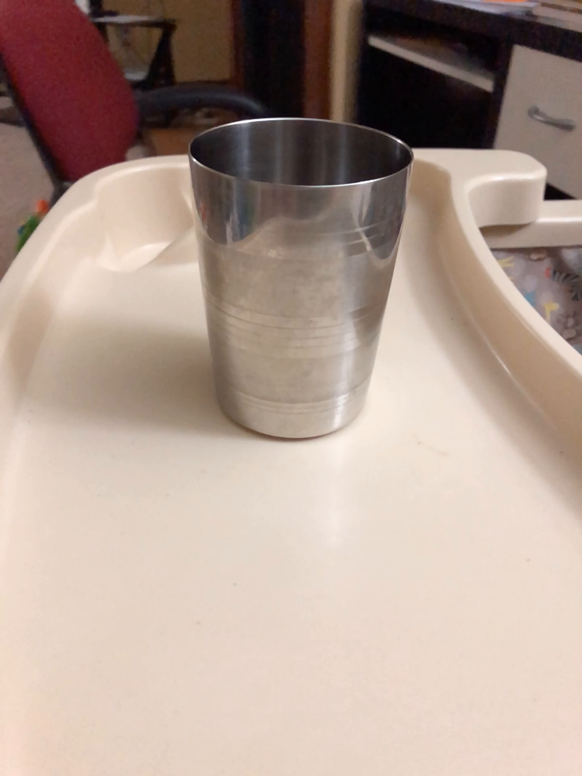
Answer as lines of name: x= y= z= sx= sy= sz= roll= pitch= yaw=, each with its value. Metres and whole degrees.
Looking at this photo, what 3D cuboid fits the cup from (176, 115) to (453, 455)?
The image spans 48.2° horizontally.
cup: x=0.003 y=-0.037 z=0.225 sx=0.073 sy=0.090 sz=0.074 roll=1 pitch=36 yaw=0
